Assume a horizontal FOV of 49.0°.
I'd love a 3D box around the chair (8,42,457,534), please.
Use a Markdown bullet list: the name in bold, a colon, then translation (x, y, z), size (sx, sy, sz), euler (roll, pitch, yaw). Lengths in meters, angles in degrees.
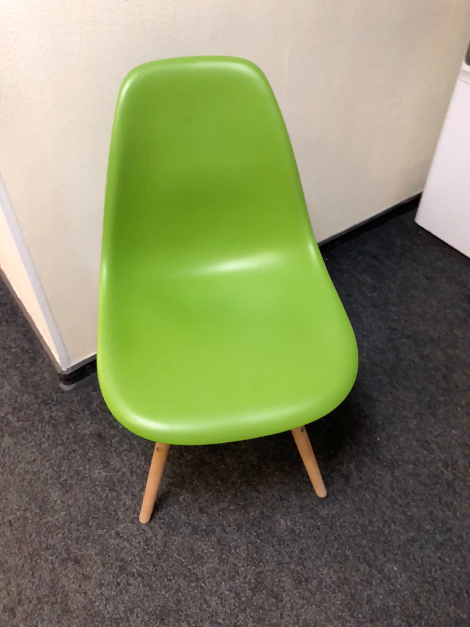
- **chair**: translation (-0.030, -0.033, 1.003), size (0.480, 0.706, 0.584), euler (-6, 47, -5)
